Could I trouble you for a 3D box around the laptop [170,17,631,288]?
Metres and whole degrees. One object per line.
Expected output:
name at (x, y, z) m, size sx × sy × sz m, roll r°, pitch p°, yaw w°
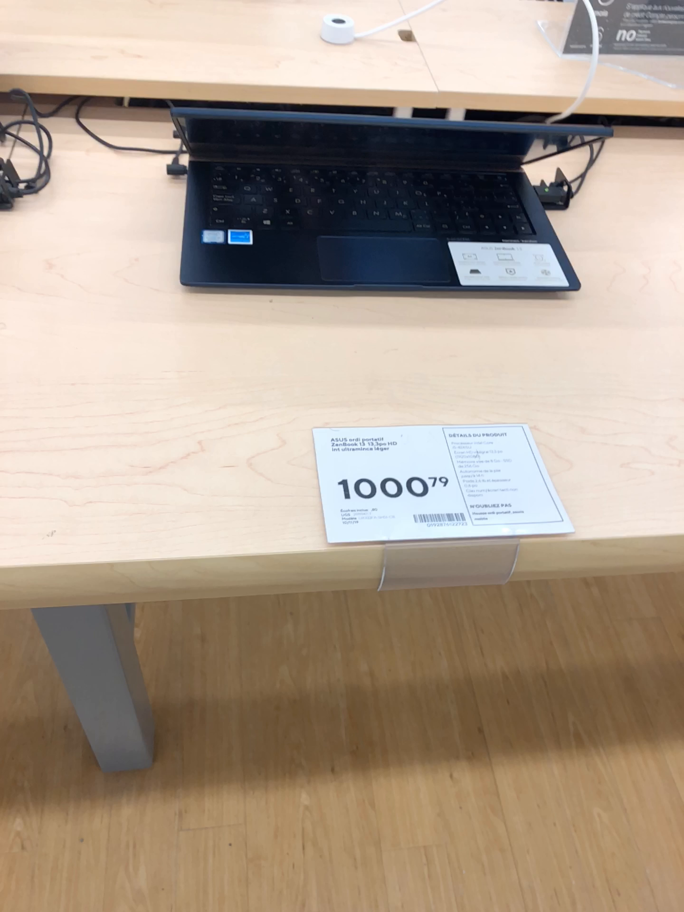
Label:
laptop at (0.029, -0.236, 0.582) m, size 0.299 × 0.107 × 0.197 m, roll -1°, pitch 49°, yaw -8°
